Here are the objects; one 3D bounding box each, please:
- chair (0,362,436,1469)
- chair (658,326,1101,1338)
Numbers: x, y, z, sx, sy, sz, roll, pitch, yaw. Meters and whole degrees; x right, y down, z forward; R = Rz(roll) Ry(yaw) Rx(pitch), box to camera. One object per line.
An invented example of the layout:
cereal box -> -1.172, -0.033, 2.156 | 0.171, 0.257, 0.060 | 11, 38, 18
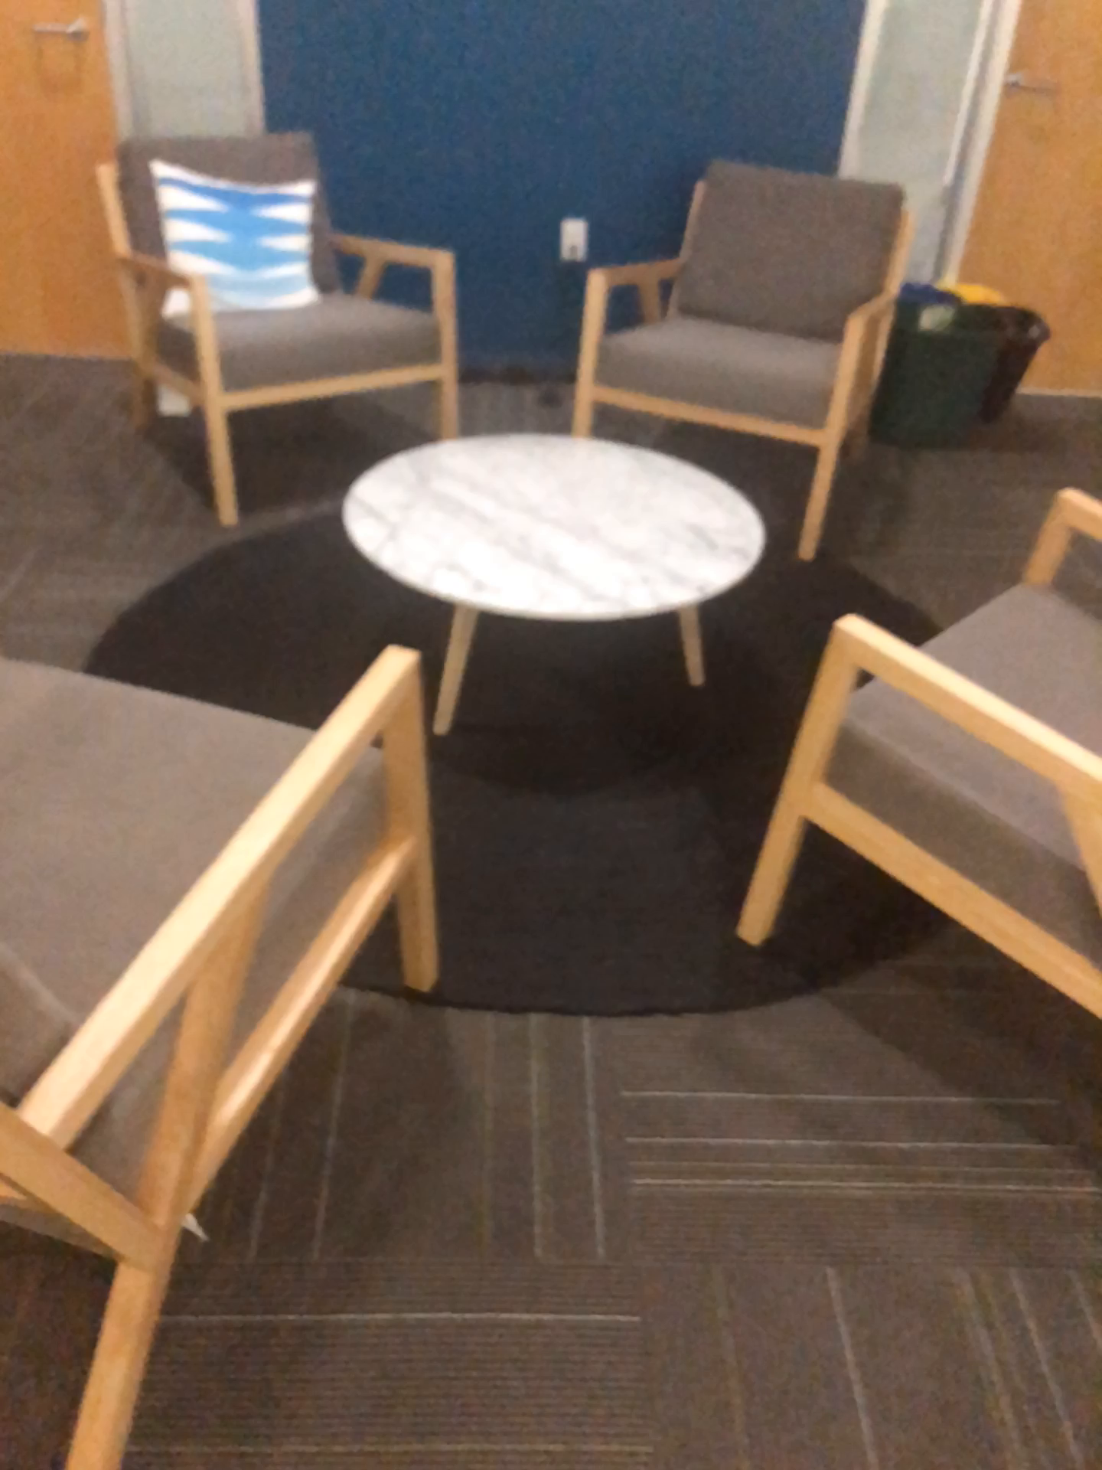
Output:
chair -> -0.633, 0.169, 1.330 | 0.720, 0.773, 0.808 | 14, 39, 15
chair -> 0.762, 0.041, 1.626 | 0.725, 0.753, 0.873 | -27, 50, -37
